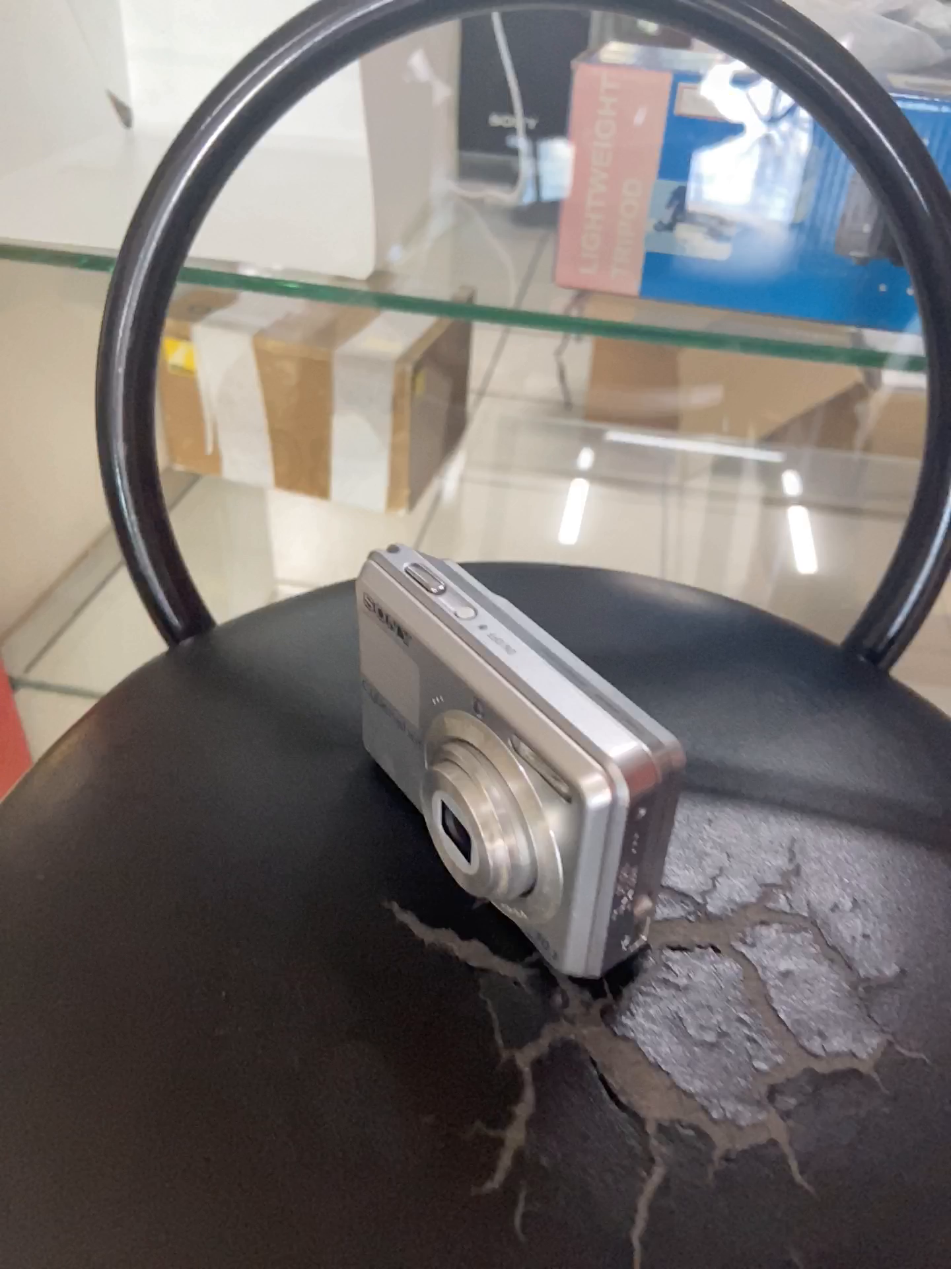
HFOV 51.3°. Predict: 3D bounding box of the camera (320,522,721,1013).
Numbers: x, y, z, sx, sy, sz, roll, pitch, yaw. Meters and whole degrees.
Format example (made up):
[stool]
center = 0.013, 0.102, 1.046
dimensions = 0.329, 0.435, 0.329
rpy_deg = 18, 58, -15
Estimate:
[camera]
center = 0.004, 0.024, 0.210
dimensions = 0.035, 0.057, 0.083
rpy_deg = -21, 43, -30
